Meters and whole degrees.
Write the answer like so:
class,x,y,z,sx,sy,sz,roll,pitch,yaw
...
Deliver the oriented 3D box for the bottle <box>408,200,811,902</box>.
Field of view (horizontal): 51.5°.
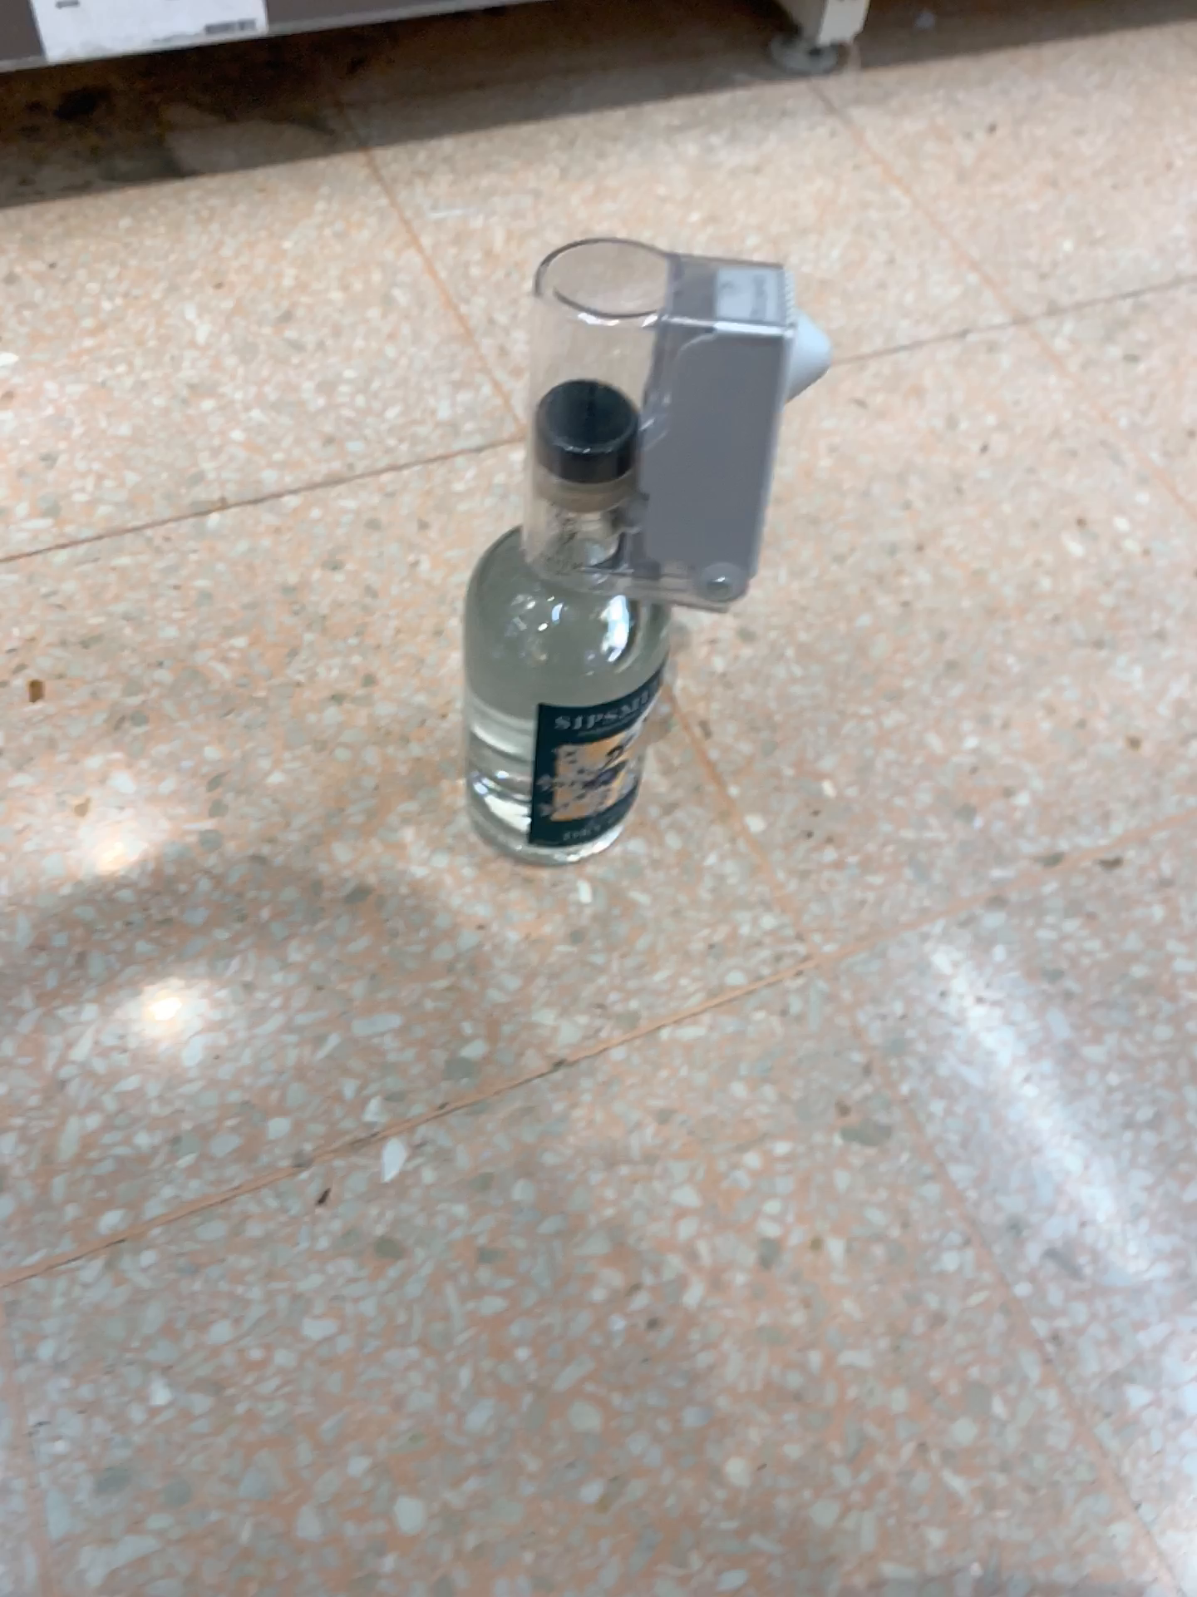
class,x,y,z,sx,sy,sz,roll,pitch,yaw
bottle,-0.008,-0.060,0.396,0.074,0.222,0.069,3,58,-4
